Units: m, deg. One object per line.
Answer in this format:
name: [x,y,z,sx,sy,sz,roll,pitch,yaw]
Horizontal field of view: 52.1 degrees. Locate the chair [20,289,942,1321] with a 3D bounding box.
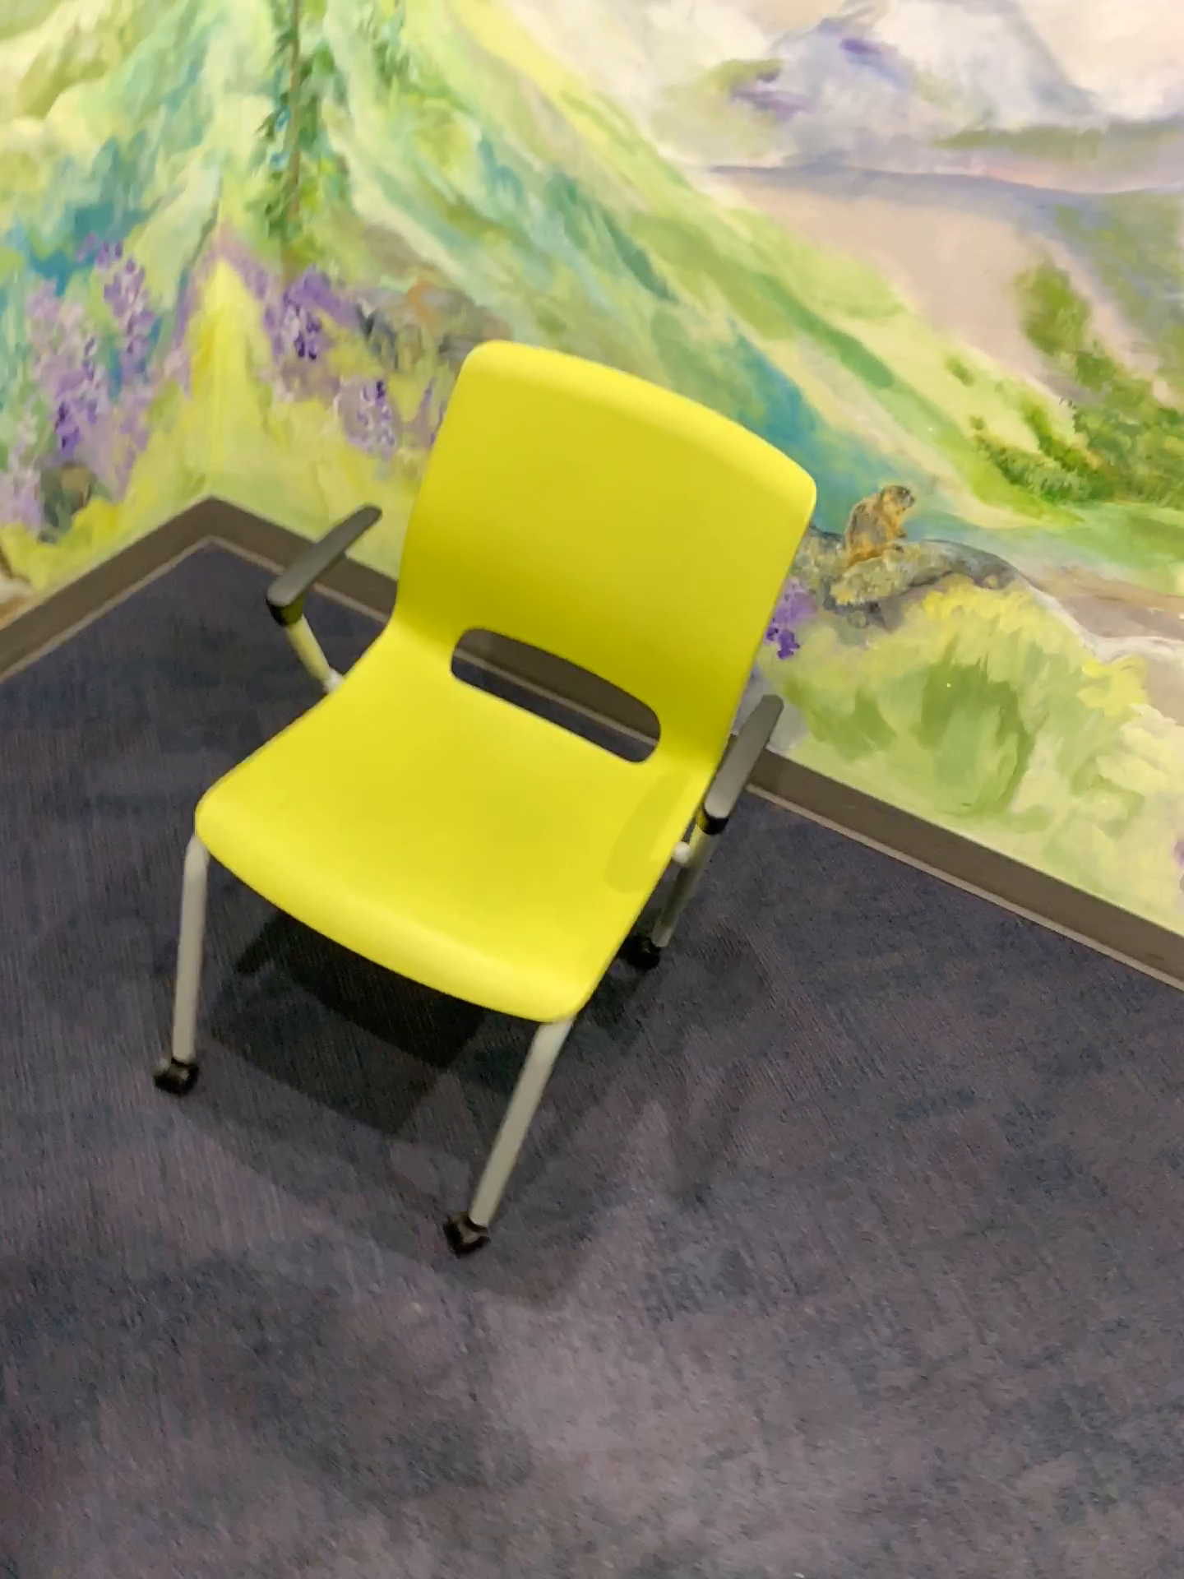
chair: [-0.108,-0.020,1.385,0.590,0.717,0.743,28,42,11]
